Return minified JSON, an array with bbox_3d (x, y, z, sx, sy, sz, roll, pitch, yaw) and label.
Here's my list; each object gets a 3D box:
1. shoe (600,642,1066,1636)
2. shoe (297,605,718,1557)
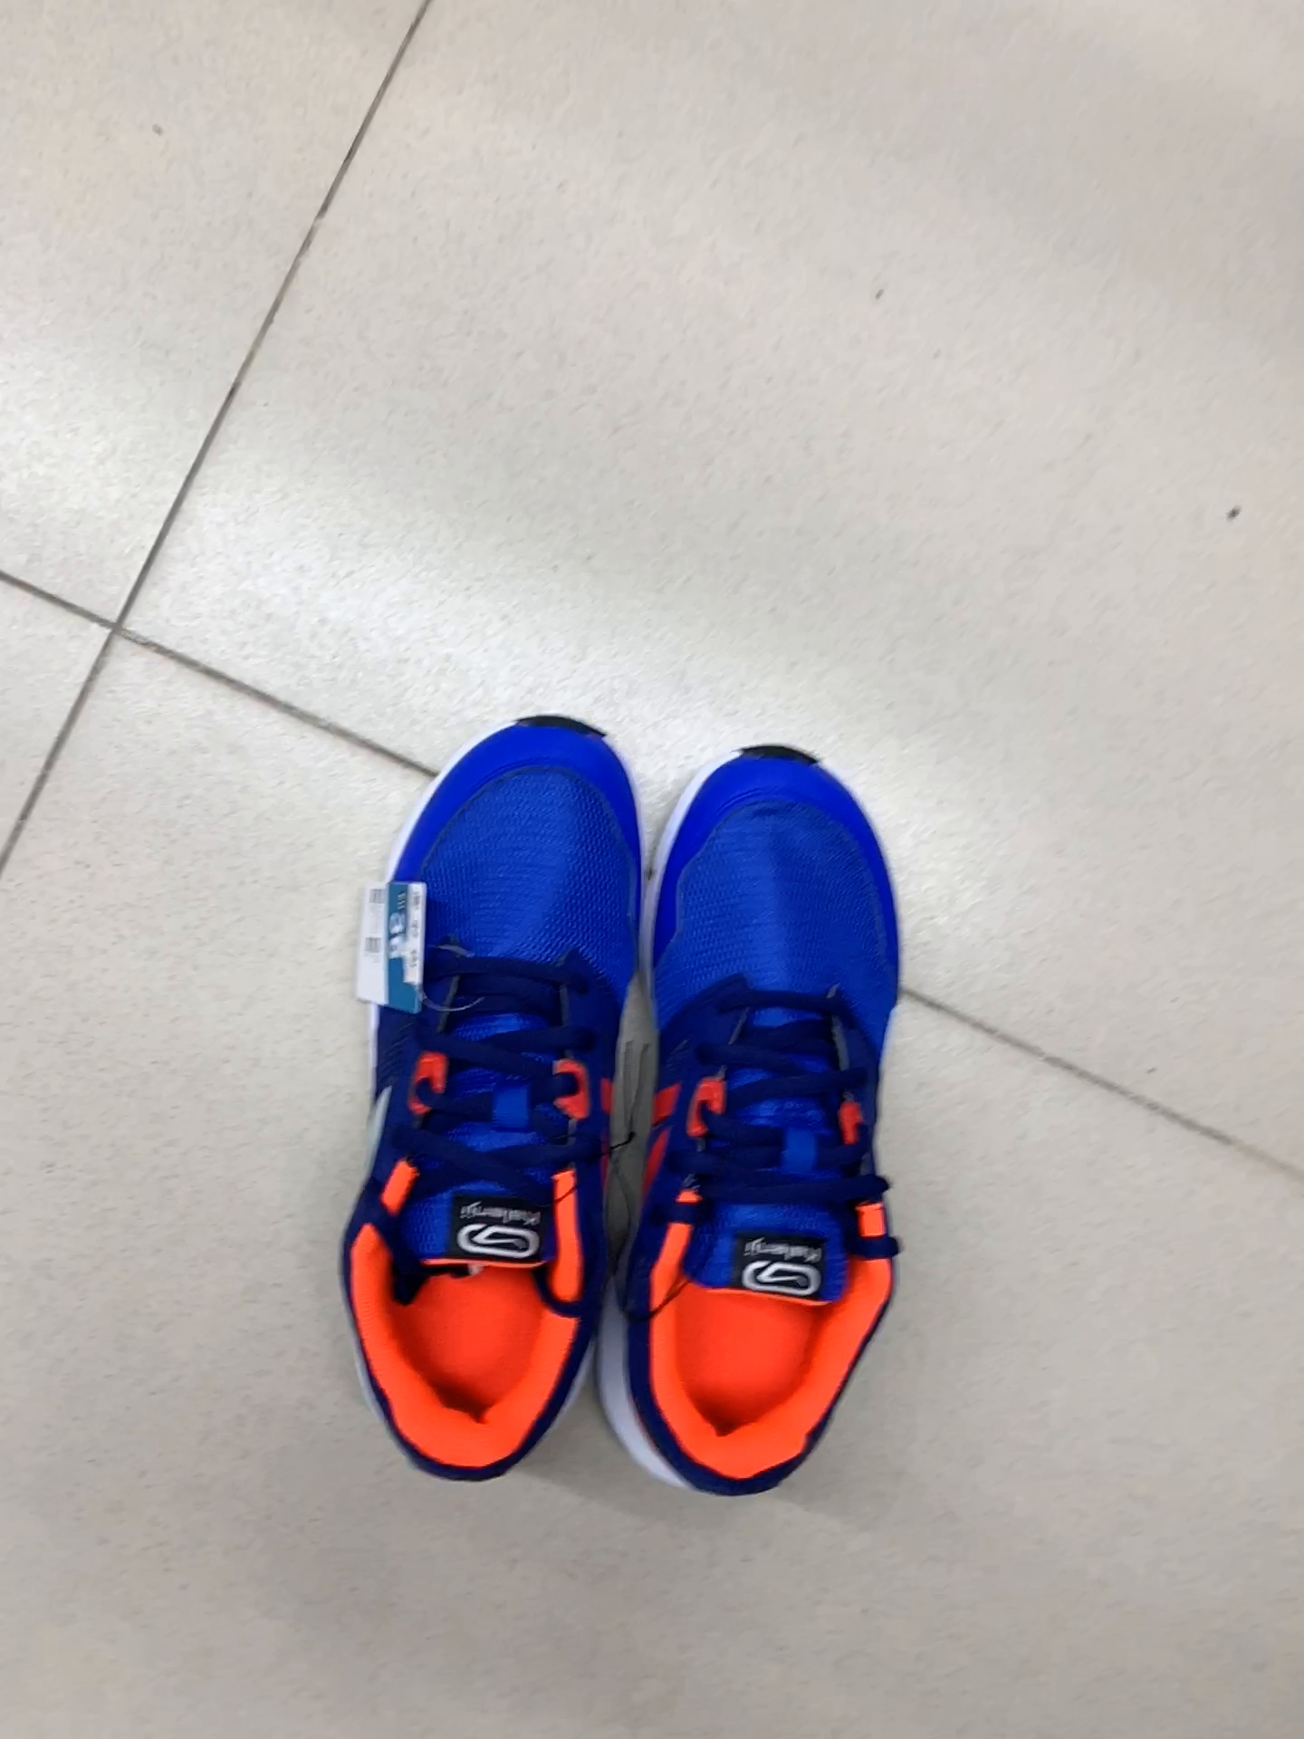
[{"bbox_3d":[0.047,0.072,0.410,0.090,0.120,0.250,7,87,-5],"label":"shoe"},{"bbox_3d":[-0.043,0.059,0.422,0.090,0.120,0.250,5,87,-5],"label":"shoe"}]
